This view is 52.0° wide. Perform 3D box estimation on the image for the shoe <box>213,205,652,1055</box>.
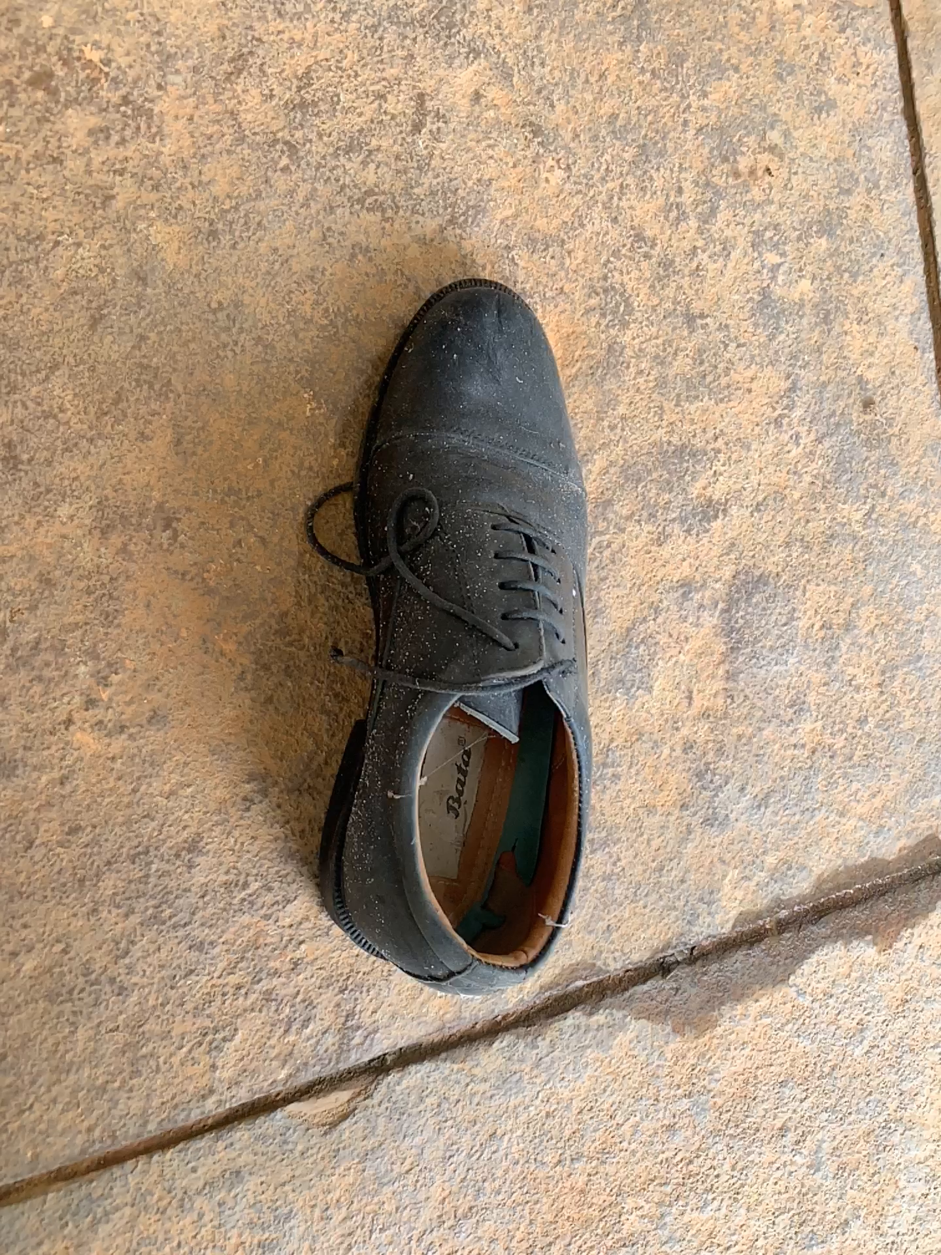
[{"bbox_3d":[-0.016,0.005,0.362,0.100,0.090,0.270,11,84,-23],"label":"shoe"}]
